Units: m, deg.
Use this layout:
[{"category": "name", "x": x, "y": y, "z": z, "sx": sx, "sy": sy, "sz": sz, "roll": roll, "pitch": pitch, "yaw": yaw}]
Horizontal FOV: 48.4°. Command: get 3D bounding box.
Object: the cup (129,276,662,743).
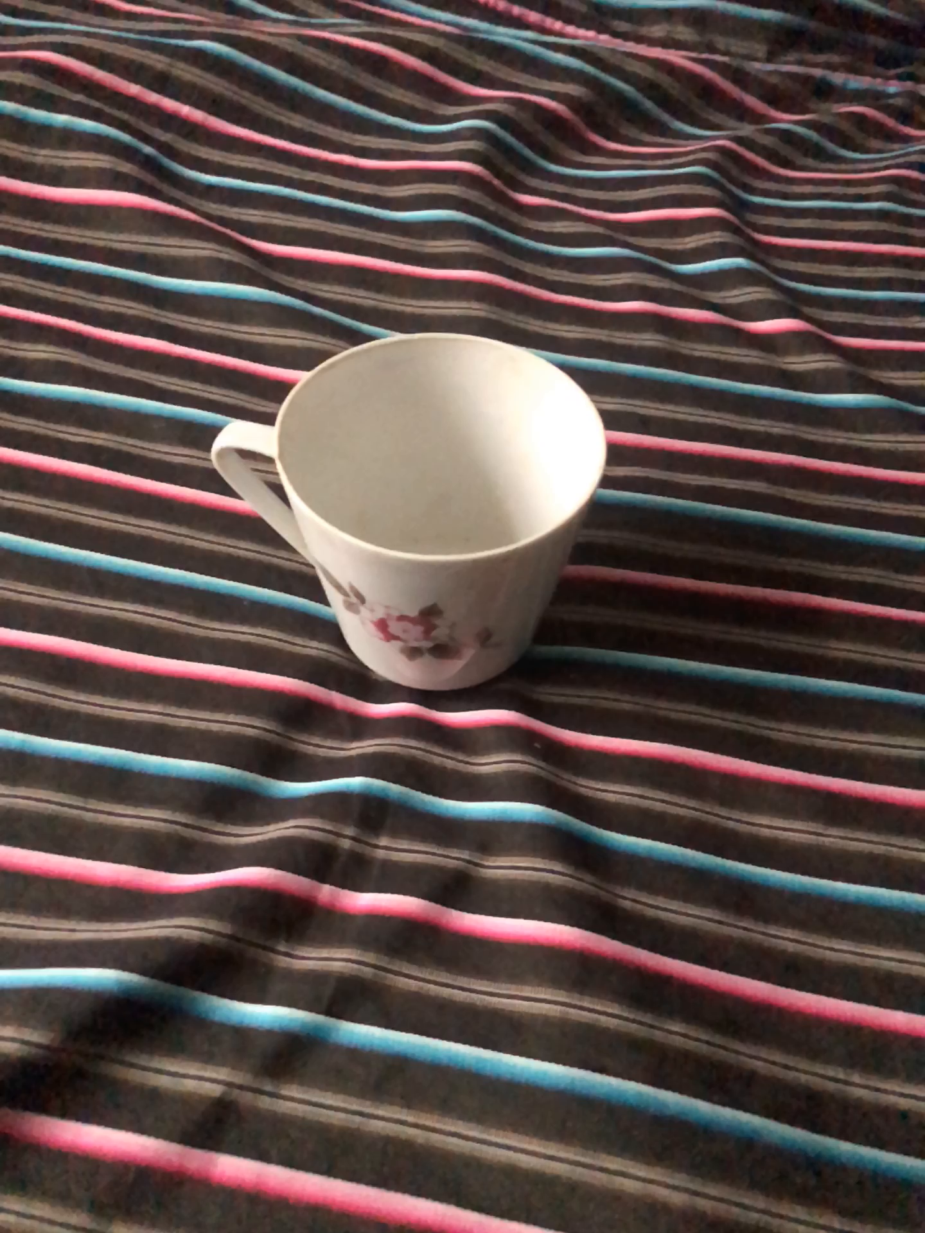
[{"category": "cup", "x": -0.013, "y": -0.028, "z": 0.245, "sx": 0.094, "sy": 0.049, "sz": 0.074, "roll": 20, "pitch": 55, "yaw": 13}]
